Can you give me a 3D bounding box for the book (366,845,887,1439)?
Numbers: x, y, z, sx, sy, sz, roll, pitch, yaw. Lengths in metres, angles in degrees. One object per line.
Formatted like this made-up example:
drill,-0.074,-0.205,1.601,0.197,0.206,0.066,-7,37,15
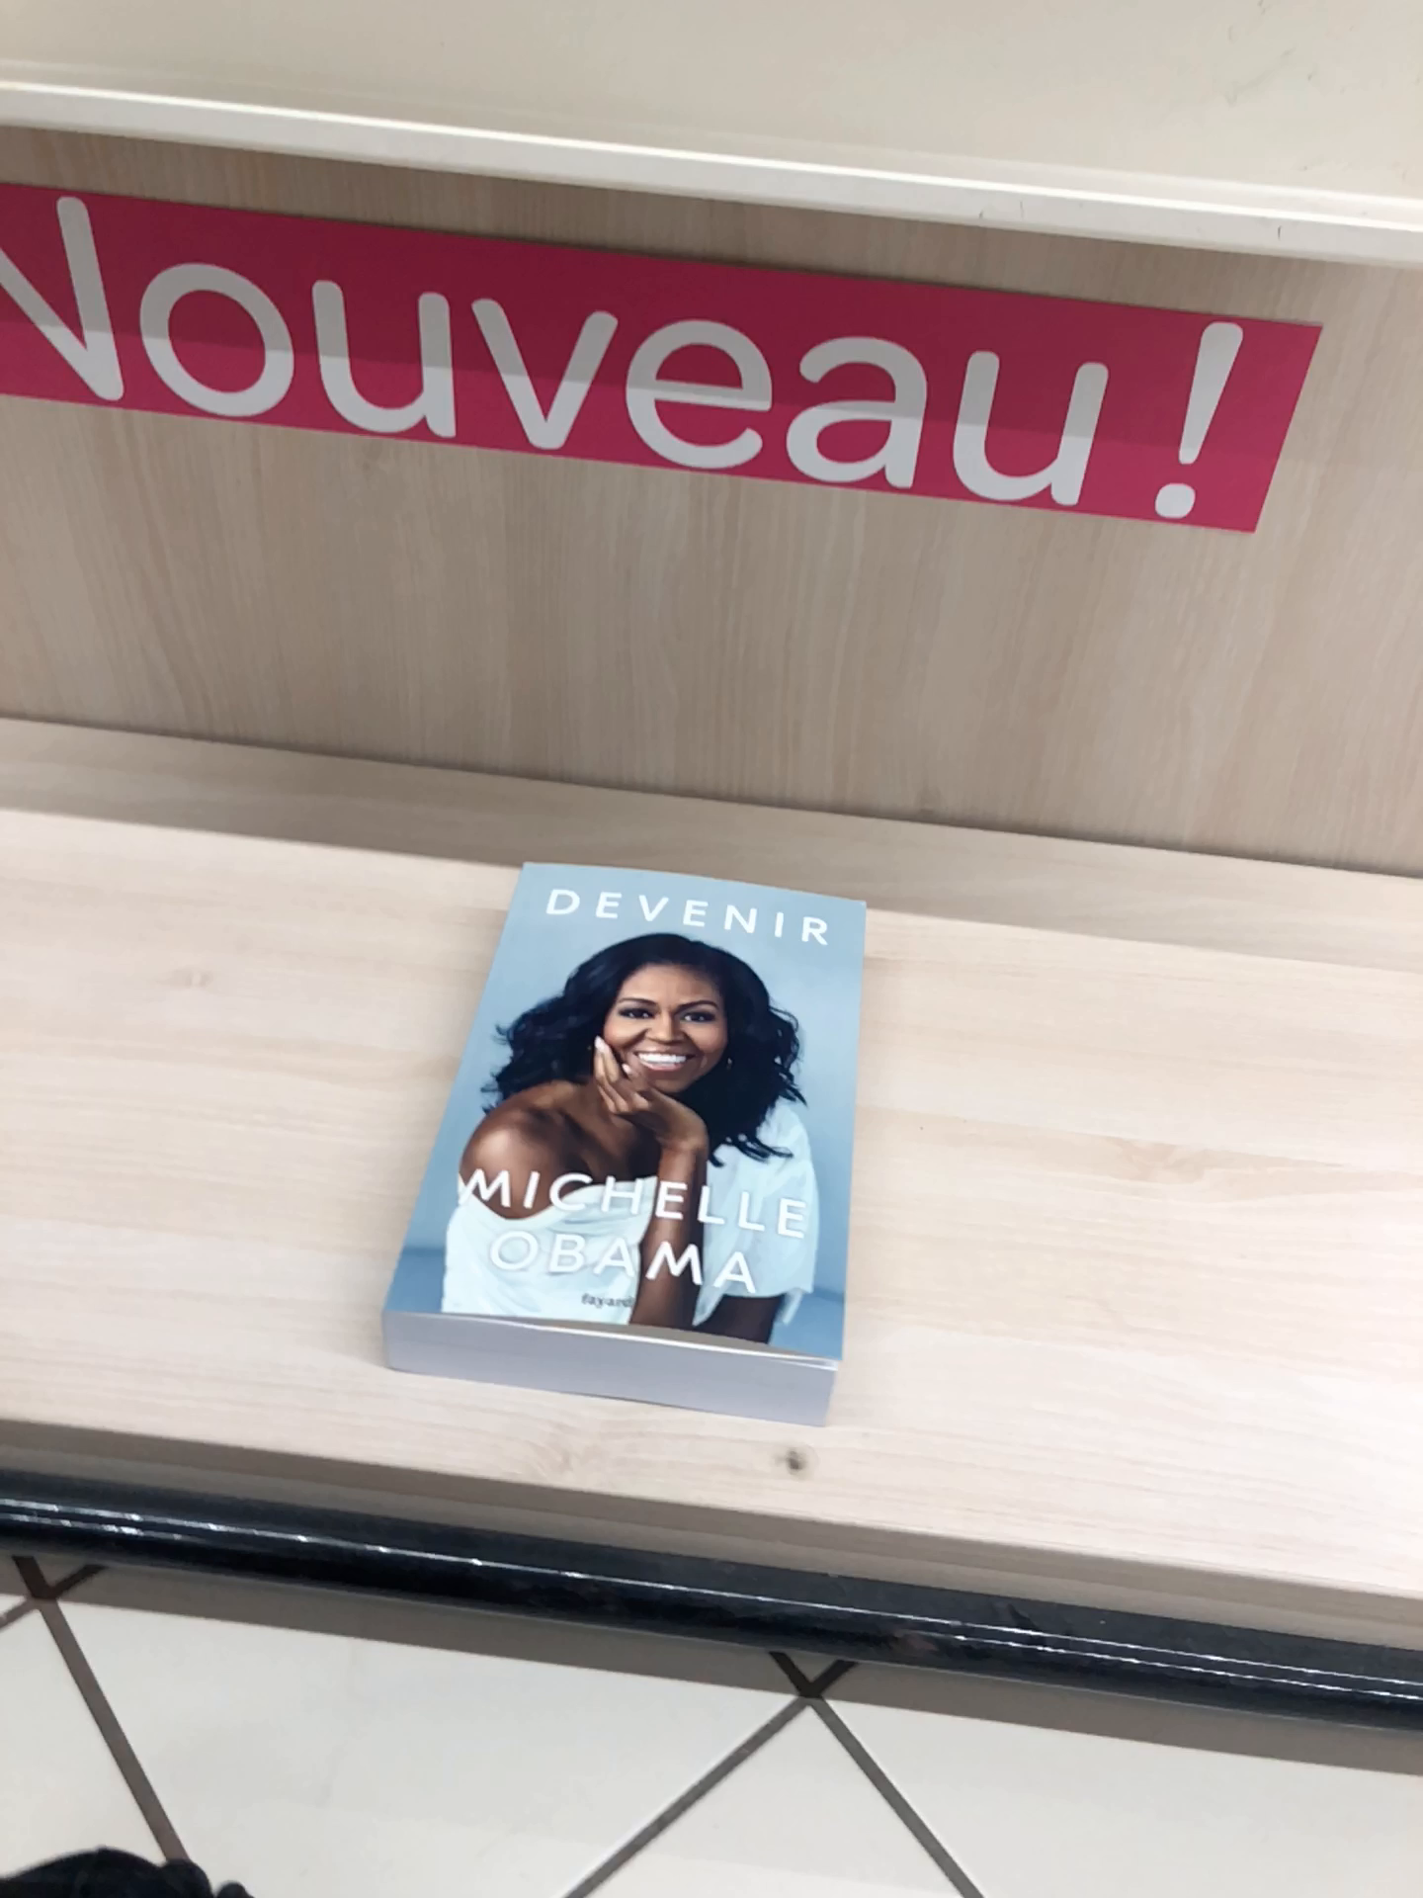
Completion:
book,-0.019,0.060,0.608,0.163,0.040,0.242,7,43,2
